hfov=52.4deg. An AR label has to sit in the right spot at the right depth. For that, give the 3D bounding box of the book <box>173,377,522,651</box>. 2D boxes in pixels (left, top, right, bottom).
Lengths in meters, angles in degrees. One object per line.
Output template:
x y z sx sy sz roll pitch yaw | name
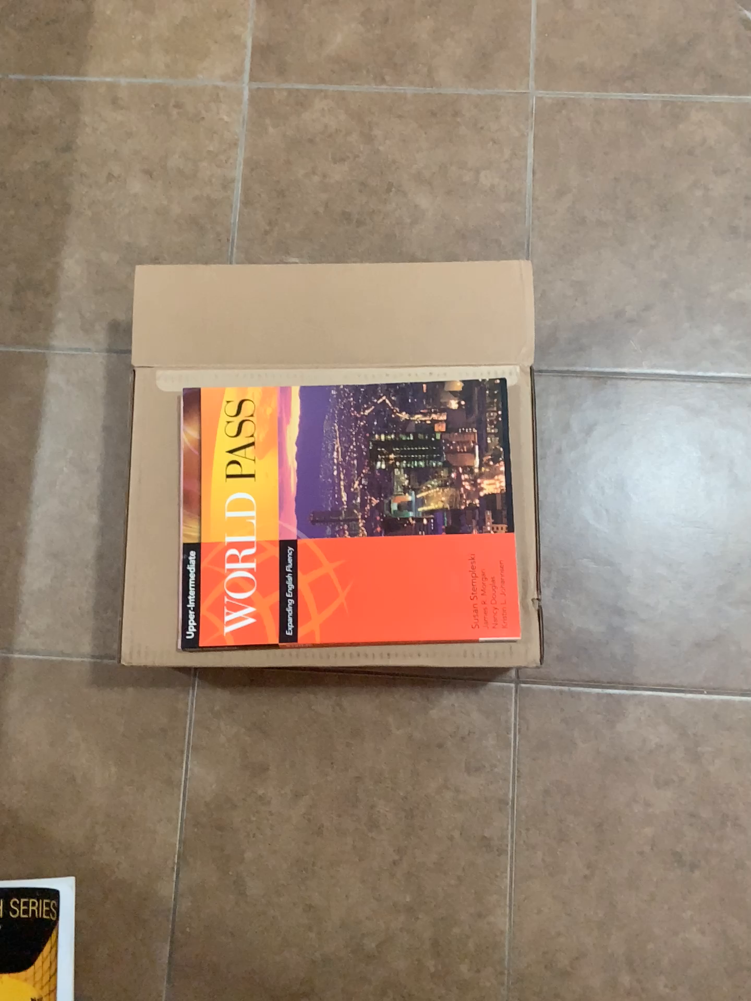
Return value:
-0.025 0.010 0.613 0.270 0.018 0.211 -2 82 2 | book
